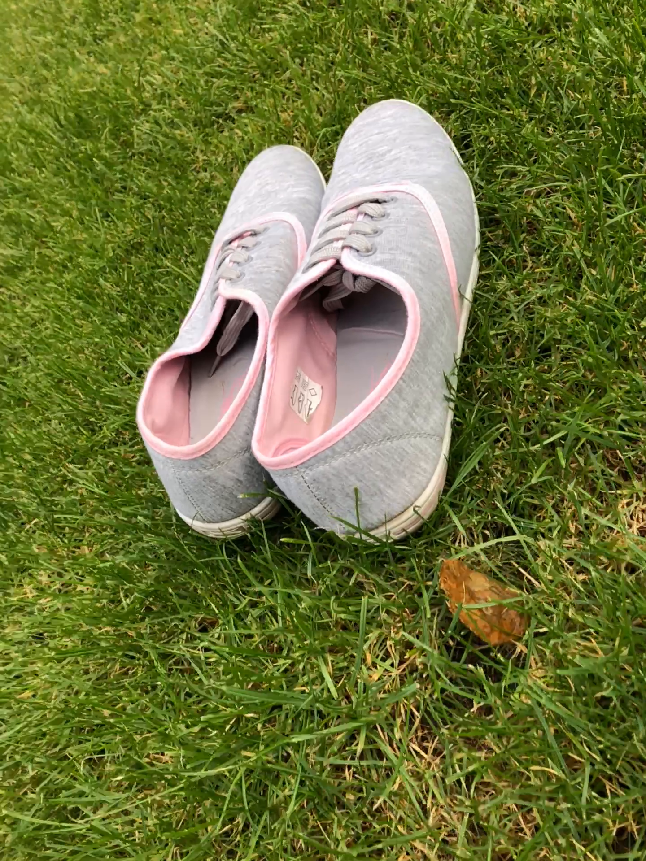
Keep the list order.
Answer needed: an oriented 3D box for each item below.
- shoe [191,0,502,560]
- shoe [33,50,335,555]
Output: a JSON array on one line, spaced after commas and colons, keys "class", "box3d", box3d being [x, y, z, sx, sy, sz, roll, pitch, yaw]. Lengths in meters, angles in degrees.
[{"class": "shoe", "box3d": [0.020, -0.079, 0.360, 0.100, 0.090, 0.261, -13, 60, 31]}, {"class": "shoe", "box3d": [-0.066, -0.072, 0.410, 0.100, 0.090, 0.261, -13, 60, 31]}]
